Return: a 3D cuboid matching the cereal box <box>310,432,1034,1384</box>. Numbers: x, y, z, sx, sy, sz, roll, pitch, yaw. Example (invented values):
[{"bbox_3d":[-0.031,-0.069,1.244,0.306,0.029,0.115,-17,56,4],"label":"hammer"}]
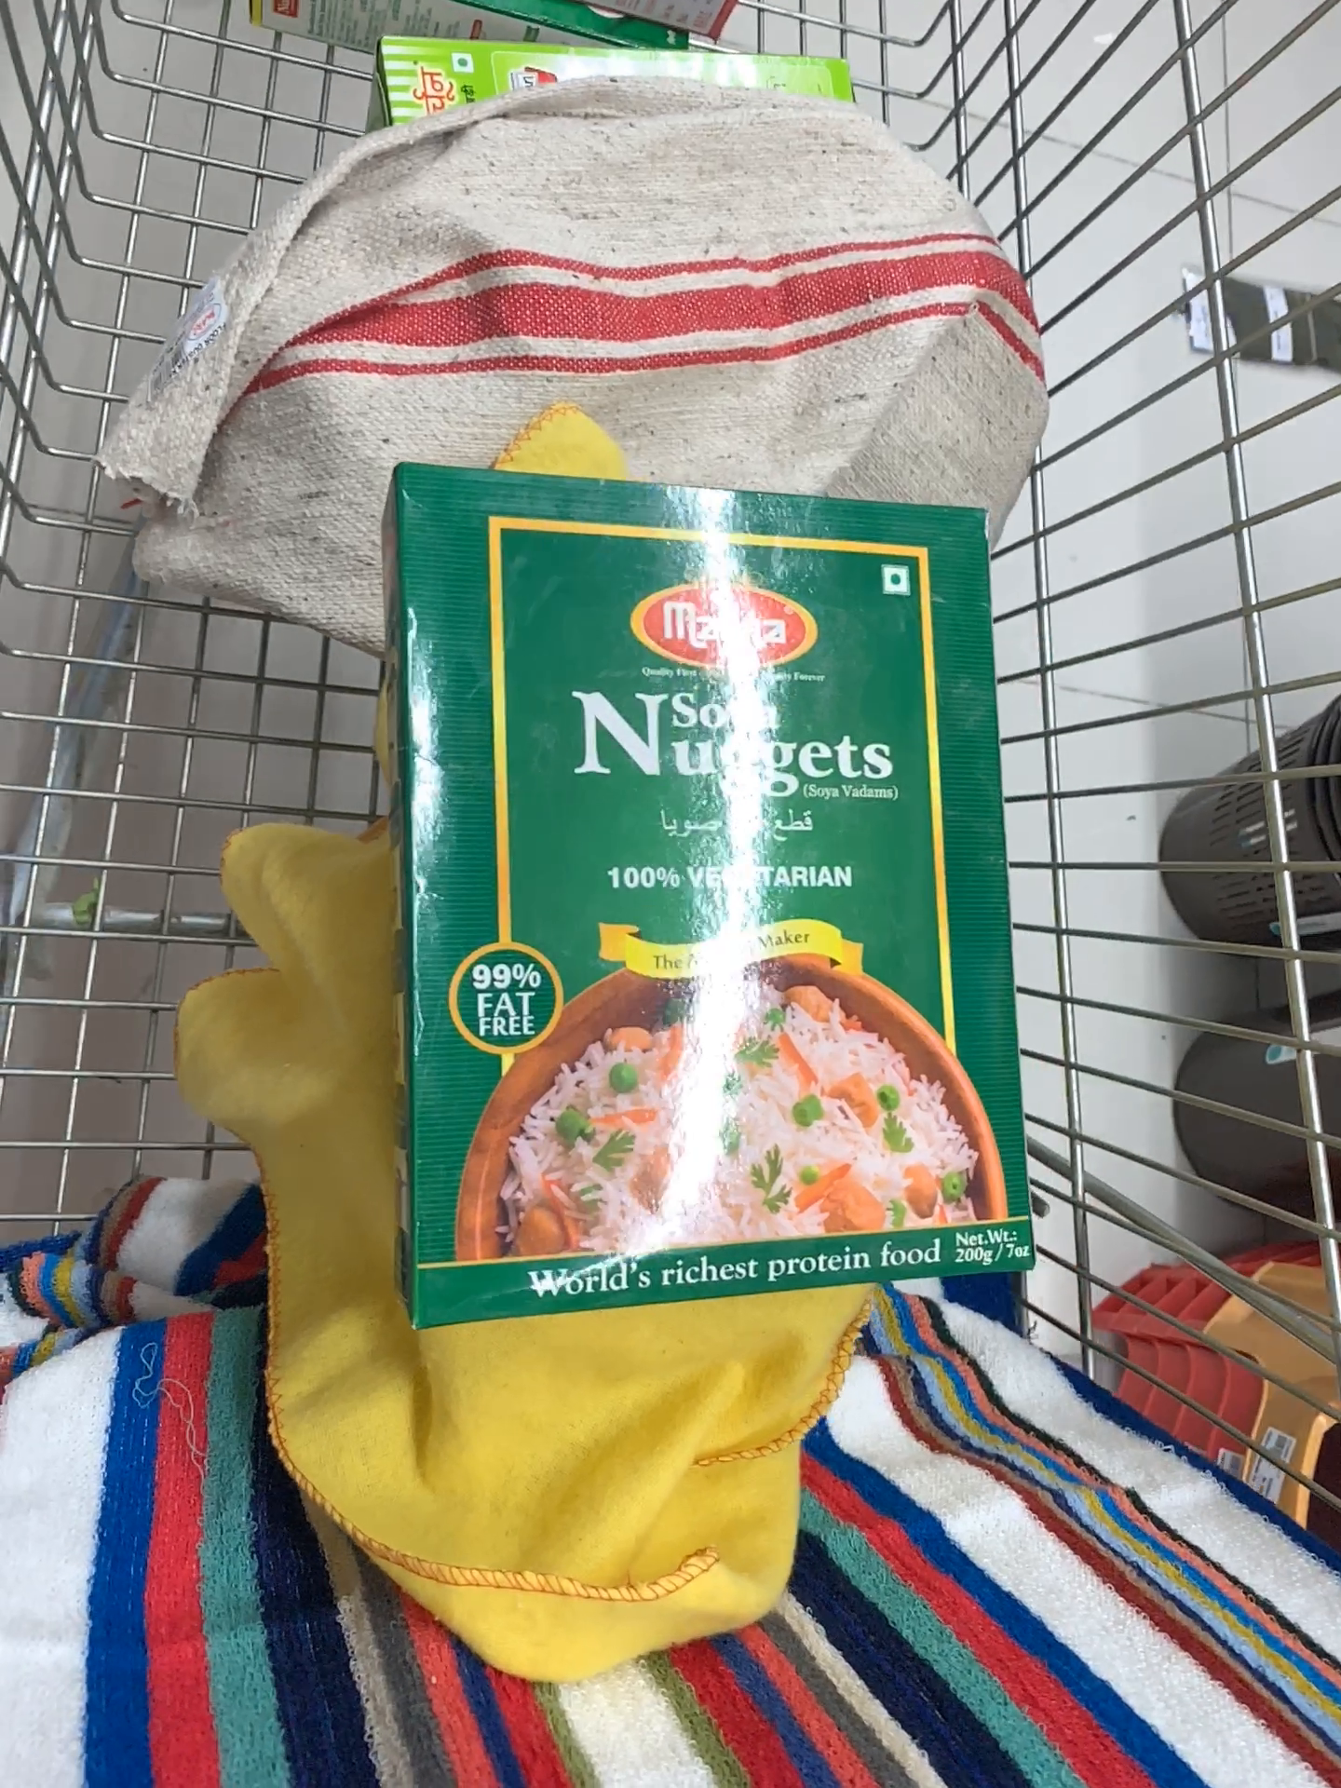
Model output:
[{"bbox_3d":[-0.004,0.002,0.339,0.160,0.060,0.200,-1,84,-16],"label":"cereal box"}]
